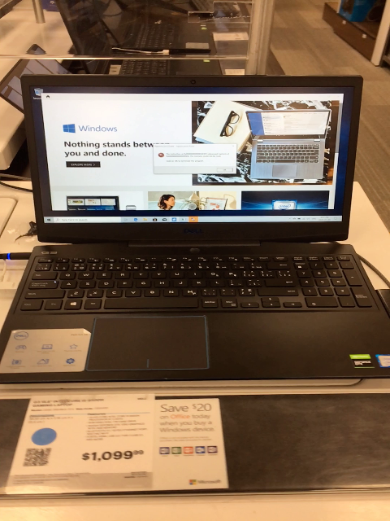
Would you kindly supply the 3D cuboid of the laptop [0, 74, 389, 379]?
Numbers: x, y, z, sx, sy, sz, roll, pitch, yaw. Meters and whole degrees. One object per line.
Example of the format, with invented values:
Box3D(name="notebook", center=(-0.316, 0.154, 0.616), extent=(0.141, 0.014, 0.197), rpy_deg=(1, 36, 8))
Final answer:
Box3D(name="laptop", center=(0.004, -0.059, 0.572), extent=(0.425, 0.198, 0.351), rpy_deg=(-1, 39, 0))
